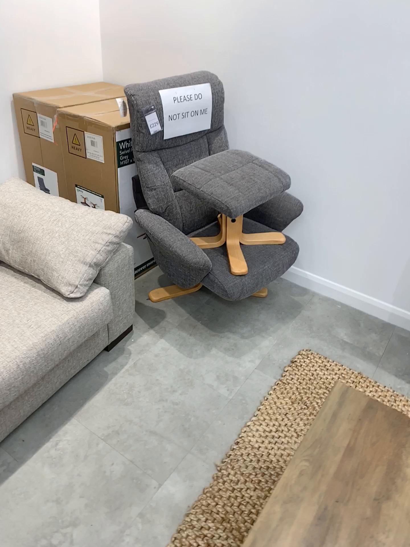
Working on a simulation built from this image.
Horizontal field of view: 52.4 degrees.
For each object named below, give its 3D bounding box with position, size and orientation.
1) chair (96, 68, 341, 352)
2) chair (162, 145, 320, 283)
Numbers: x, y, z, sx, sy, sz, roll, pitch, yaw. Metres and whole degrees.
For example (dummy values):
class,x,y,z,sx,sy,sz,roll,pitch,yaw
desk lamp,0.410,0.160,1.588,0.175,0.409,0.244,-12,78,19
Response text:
class,x,y,z,sx,sy,sz,roll,pitch,yaw
chair,0.037,-0.351,1.957,0.722,0.975,0.706,27,39,30
chair,0.152,-0.300,1.873,0.481,0.351,0.484,28,40,31
